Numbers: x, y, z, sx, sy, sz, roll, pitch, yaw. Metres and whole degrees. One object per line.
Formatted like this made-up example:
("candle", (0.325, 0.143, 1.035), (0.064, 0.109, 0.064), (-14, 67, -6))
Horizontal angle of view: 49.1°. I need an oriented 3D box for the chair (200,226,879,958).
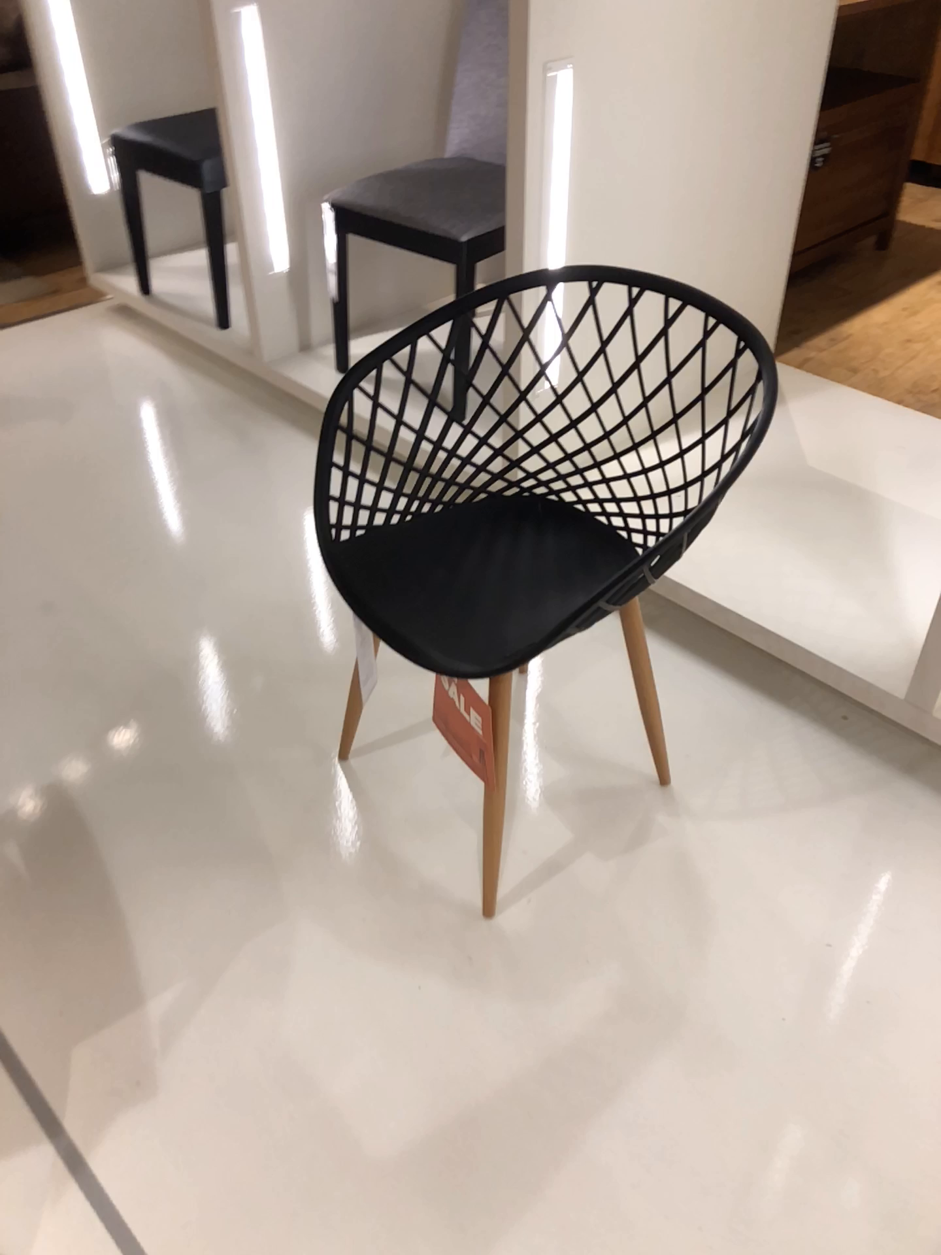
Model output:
("chair", (0.074, -0.095, 1.526), (0.602, 0.705, 0.623), (-26, 45, -28))
